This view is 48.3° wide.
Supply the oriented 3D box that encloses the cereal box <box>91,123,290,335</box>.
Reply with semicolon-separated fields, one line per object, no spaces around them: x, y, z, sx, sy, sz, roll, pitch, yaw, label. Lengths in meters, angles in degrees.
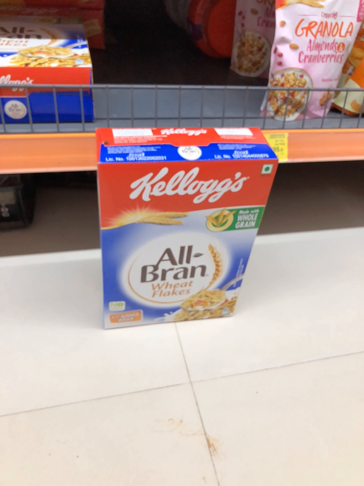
-0.007;-0.007;0.497;0.190;0.258;0.080;-3;43;-13;cereal box
